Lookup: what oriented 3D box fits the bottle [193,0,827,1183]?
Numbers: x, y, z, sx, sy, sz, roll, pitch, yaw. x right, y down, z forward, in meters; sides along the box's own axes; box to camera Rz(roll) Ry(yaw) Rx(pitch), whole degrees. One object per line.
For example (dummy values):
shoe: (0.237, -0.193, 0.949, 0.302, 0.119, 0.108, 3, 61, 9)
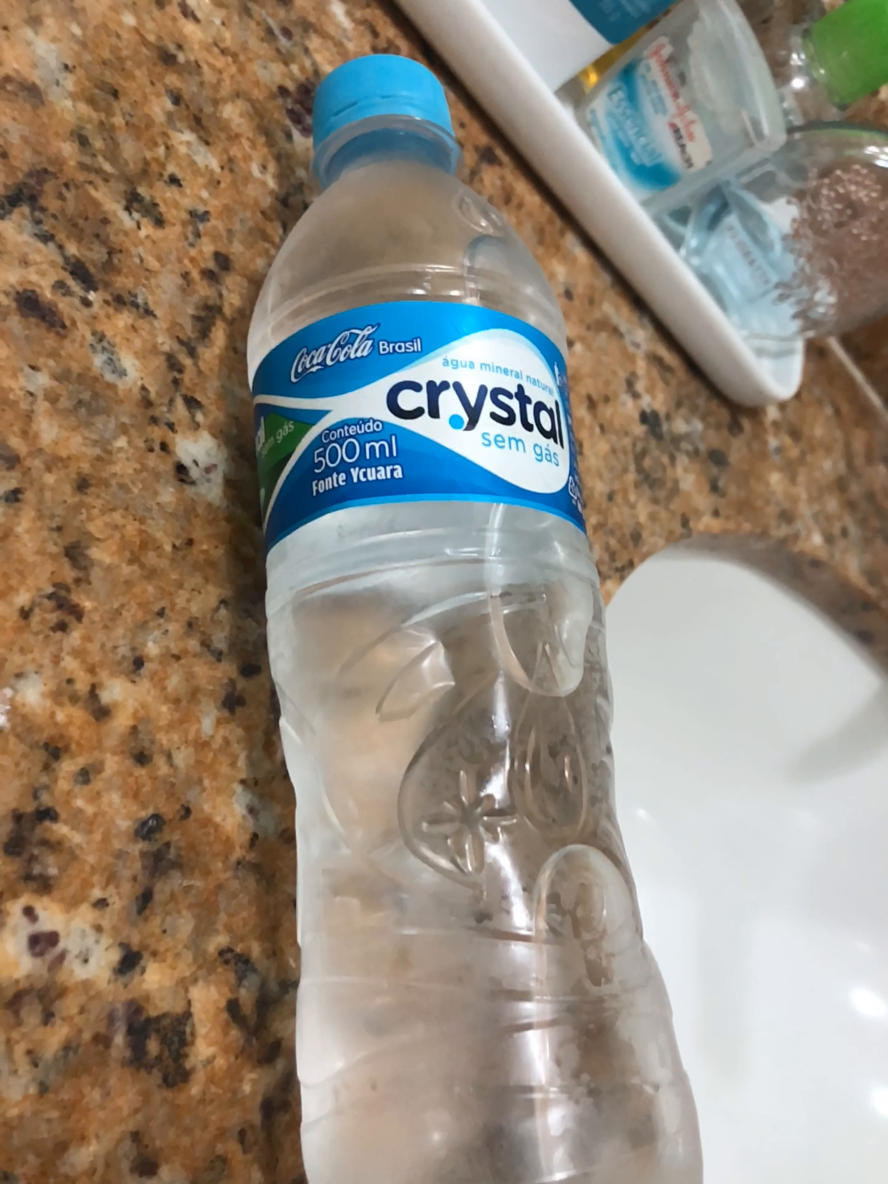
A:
bottle: (0.004, -0.010, 0.180, 0.070, 0.050, 0.230, 10, 67, -44)
